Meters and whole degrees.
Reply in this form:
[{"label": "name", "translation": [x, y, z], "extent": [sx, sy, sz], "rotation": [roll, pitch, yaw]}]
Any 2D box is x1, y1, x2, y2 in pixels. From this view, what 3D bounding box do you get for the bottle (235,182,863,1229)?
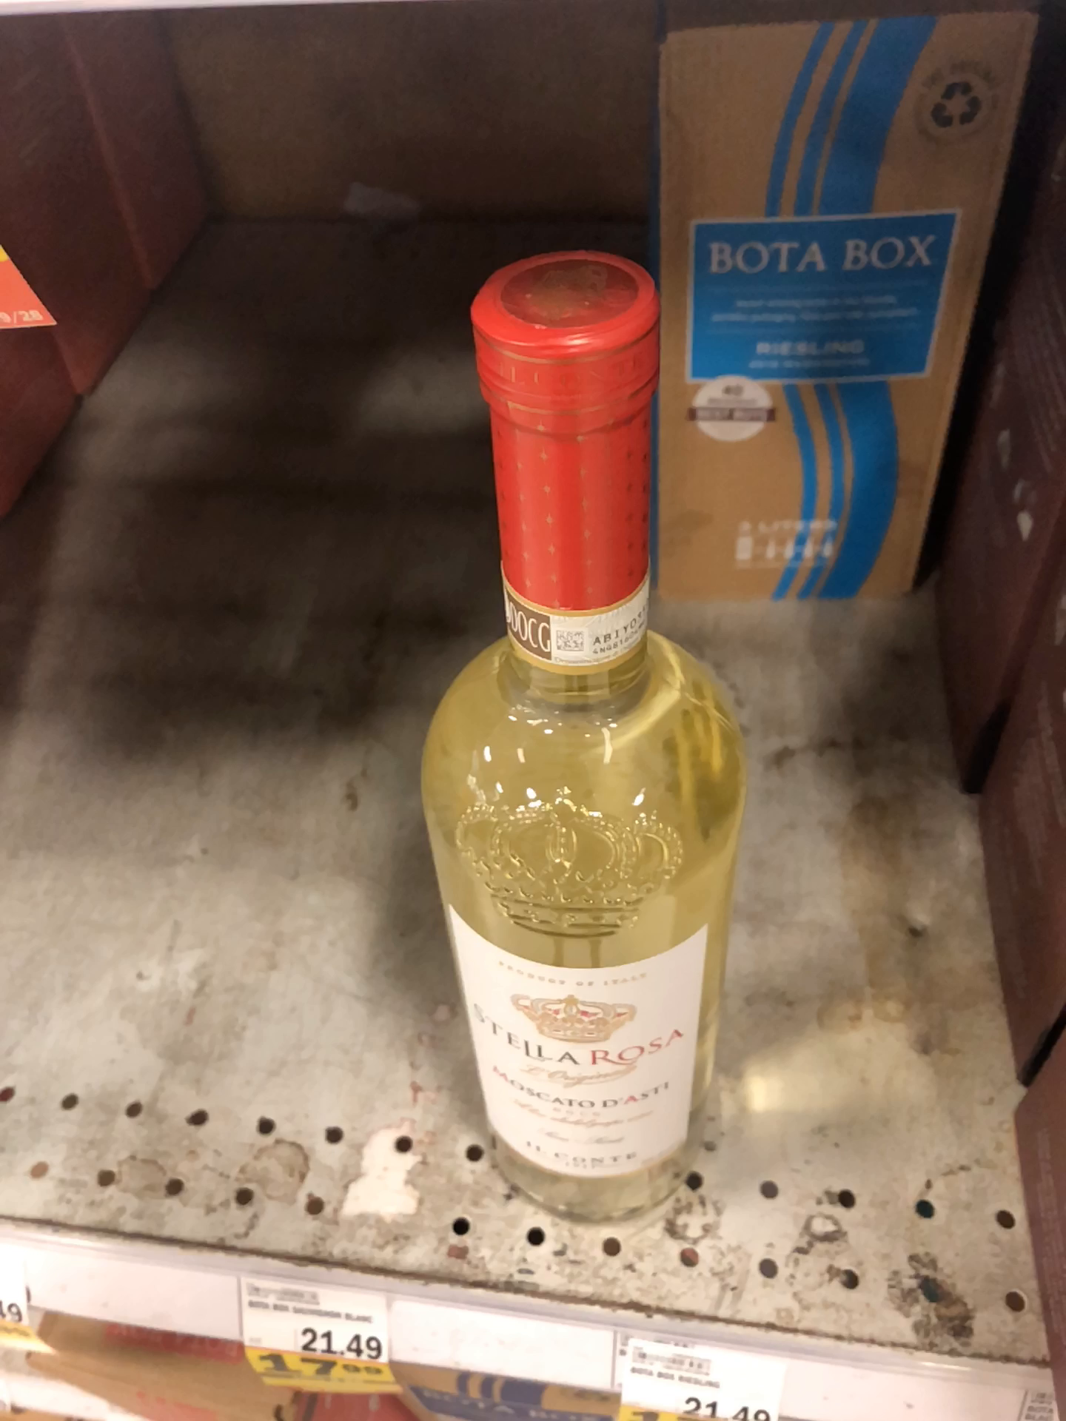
[{"label": "bottle", "translation": [0.015, 0.043, 0.297], "extent": [0.080, 0.320, 0.070], "rotation": [1, 51, 6]}]
